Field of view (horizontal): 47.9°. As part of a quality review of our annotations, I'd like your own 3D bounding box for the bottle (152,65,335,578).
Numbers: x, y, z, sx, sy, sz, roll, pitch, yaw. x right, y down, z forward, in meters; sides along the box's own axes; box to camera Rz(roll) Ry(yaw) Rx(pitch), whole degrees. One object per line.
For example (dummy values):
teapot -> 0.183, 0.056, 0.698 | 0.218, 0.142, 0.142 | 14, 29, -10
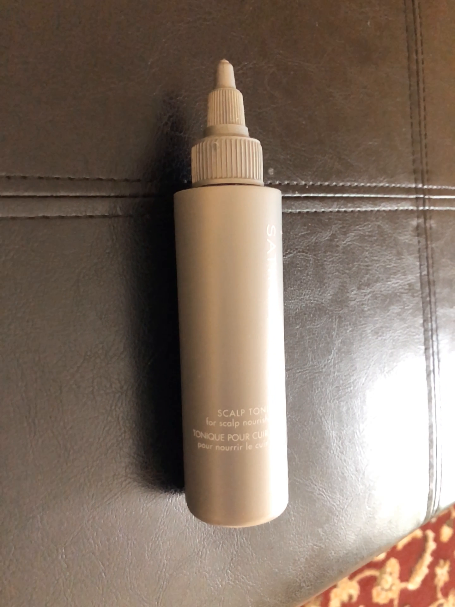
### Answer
bottle -> 0.006, 0.006, 0.167 | 0.040, 0.040, 0.140 | -5, 96, -36
